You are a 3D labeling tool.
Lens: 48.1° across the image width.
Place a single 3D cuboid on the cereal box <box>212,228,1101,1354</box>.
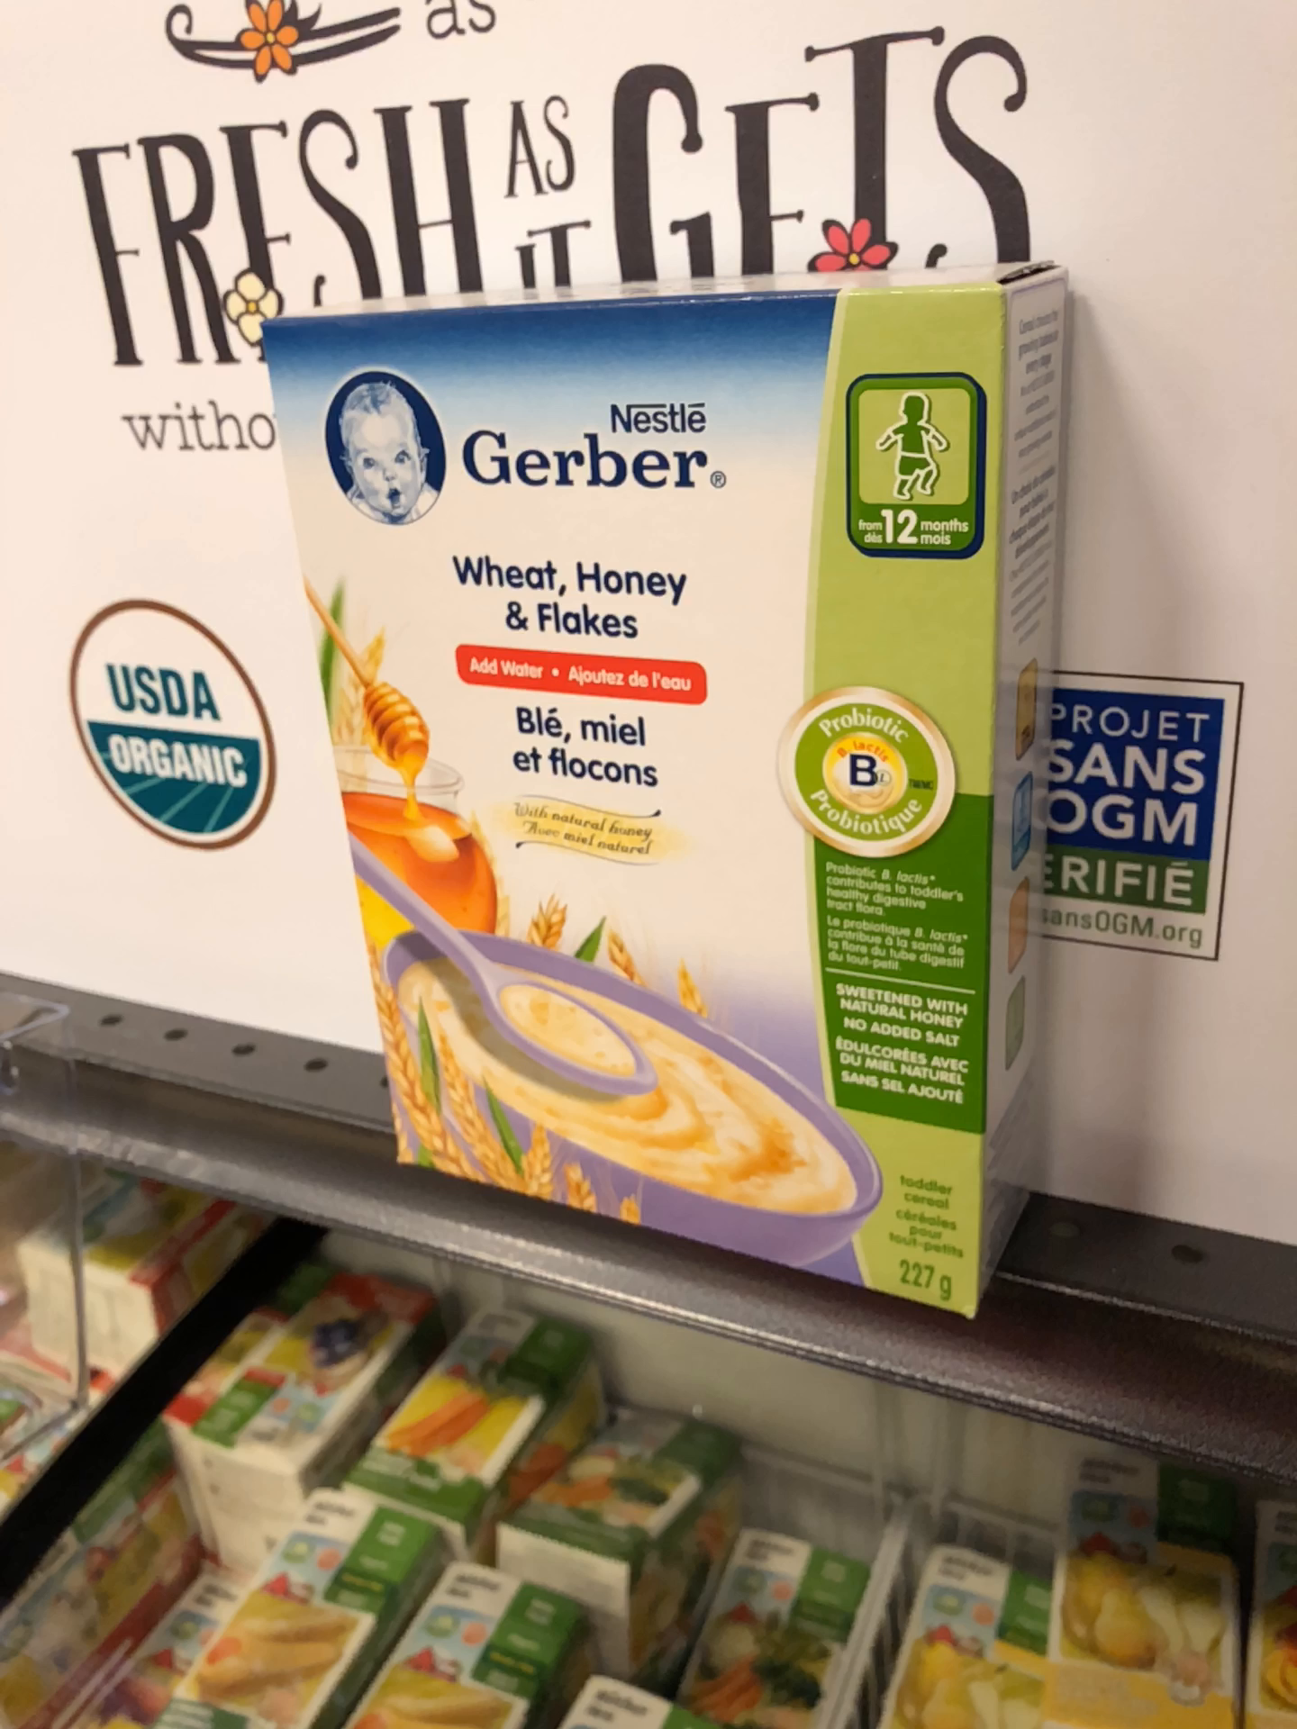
[{"bbox_3d":[0.005,-0.015,0.296,0.150,0.199,0.050,8,28,27],"label":"cereal box"}]
